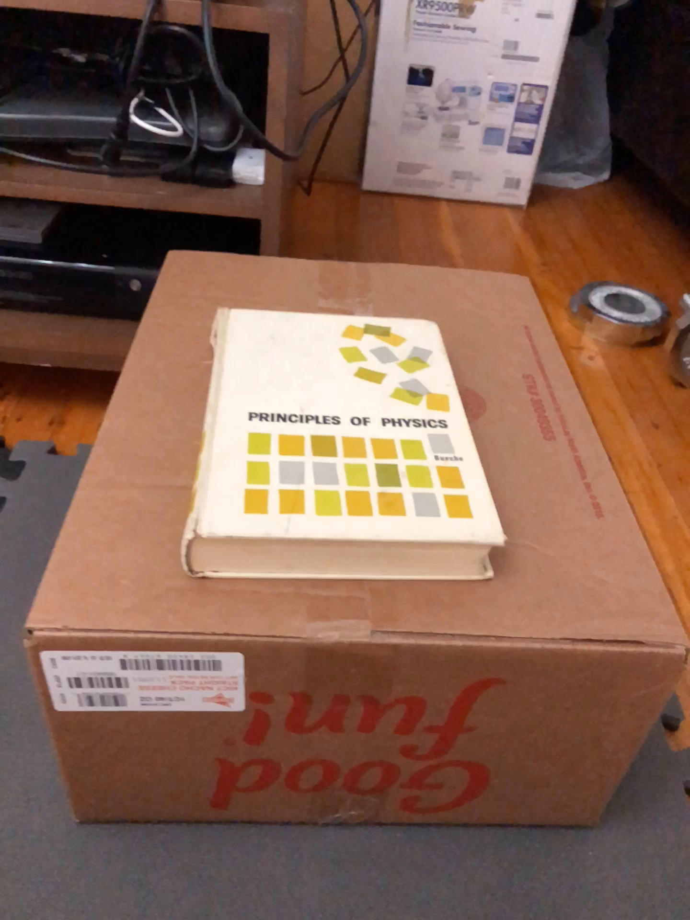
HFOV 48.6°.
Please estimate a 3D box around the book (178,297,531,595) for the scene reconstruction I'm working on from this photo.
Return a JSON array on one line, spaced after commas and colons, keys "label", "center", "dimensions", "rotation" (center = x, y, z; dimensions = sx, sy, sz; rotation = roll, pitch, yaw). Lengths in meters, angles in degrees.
[{"label": "book", "center": [-0.001, -0.024, 0.496], "dimensions": [0.180, 0.040, 0.251], "rotation": [2, 39, -5]}]
